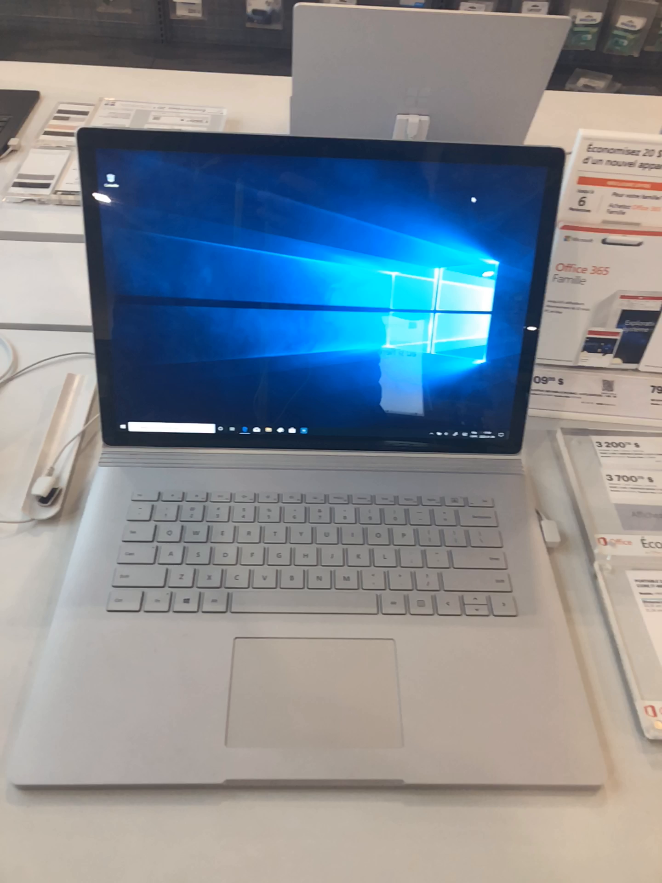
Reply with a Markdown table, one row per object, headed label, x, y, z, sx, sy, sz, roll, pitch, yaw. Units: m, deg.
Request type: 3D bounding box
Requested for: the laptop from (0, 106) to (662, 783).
| label | x | y | z | sx | sy | sz | roll | pitch | yaw |
| --- | --- | --- | --- | --- | --- | --- | --- | --- | --- |
| laptop | -0.009 | -0.016 | 0.466 | 0.338 | 0.207 | 0.366 | 1 | 48 | -4 |
